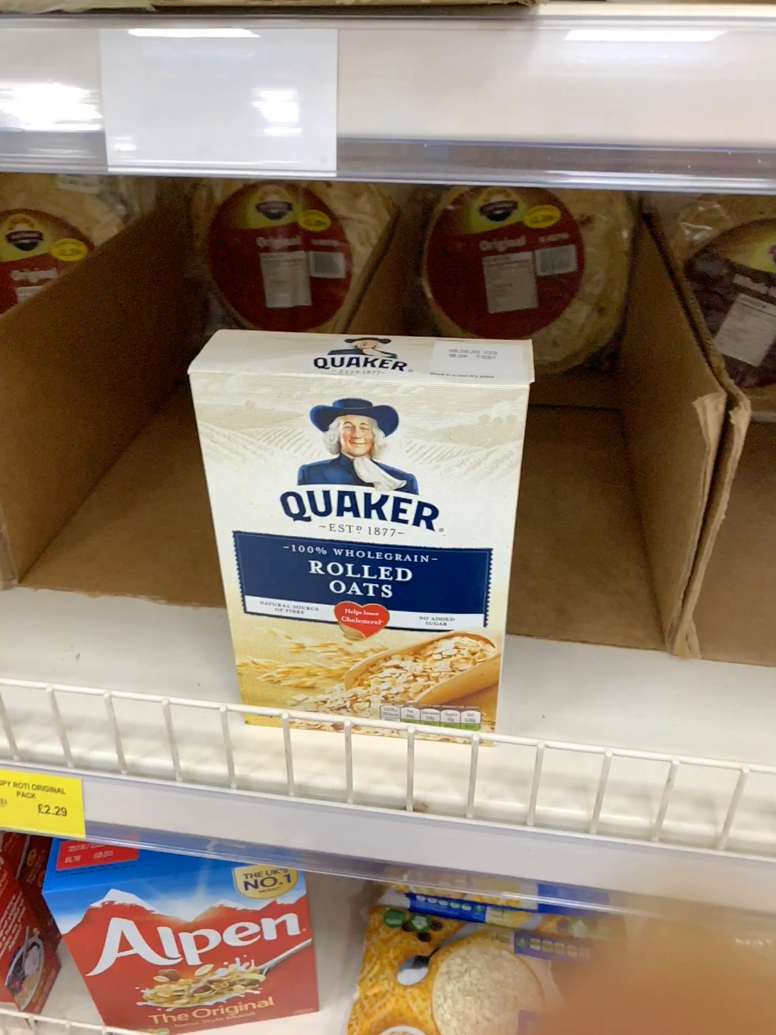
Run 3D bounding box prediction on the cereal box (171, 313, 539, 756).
[{"bbox_3d":[-0.011,0.018,0.406,0.150,0.228,0.051,4,34,6],"label":"cereal box"}]
